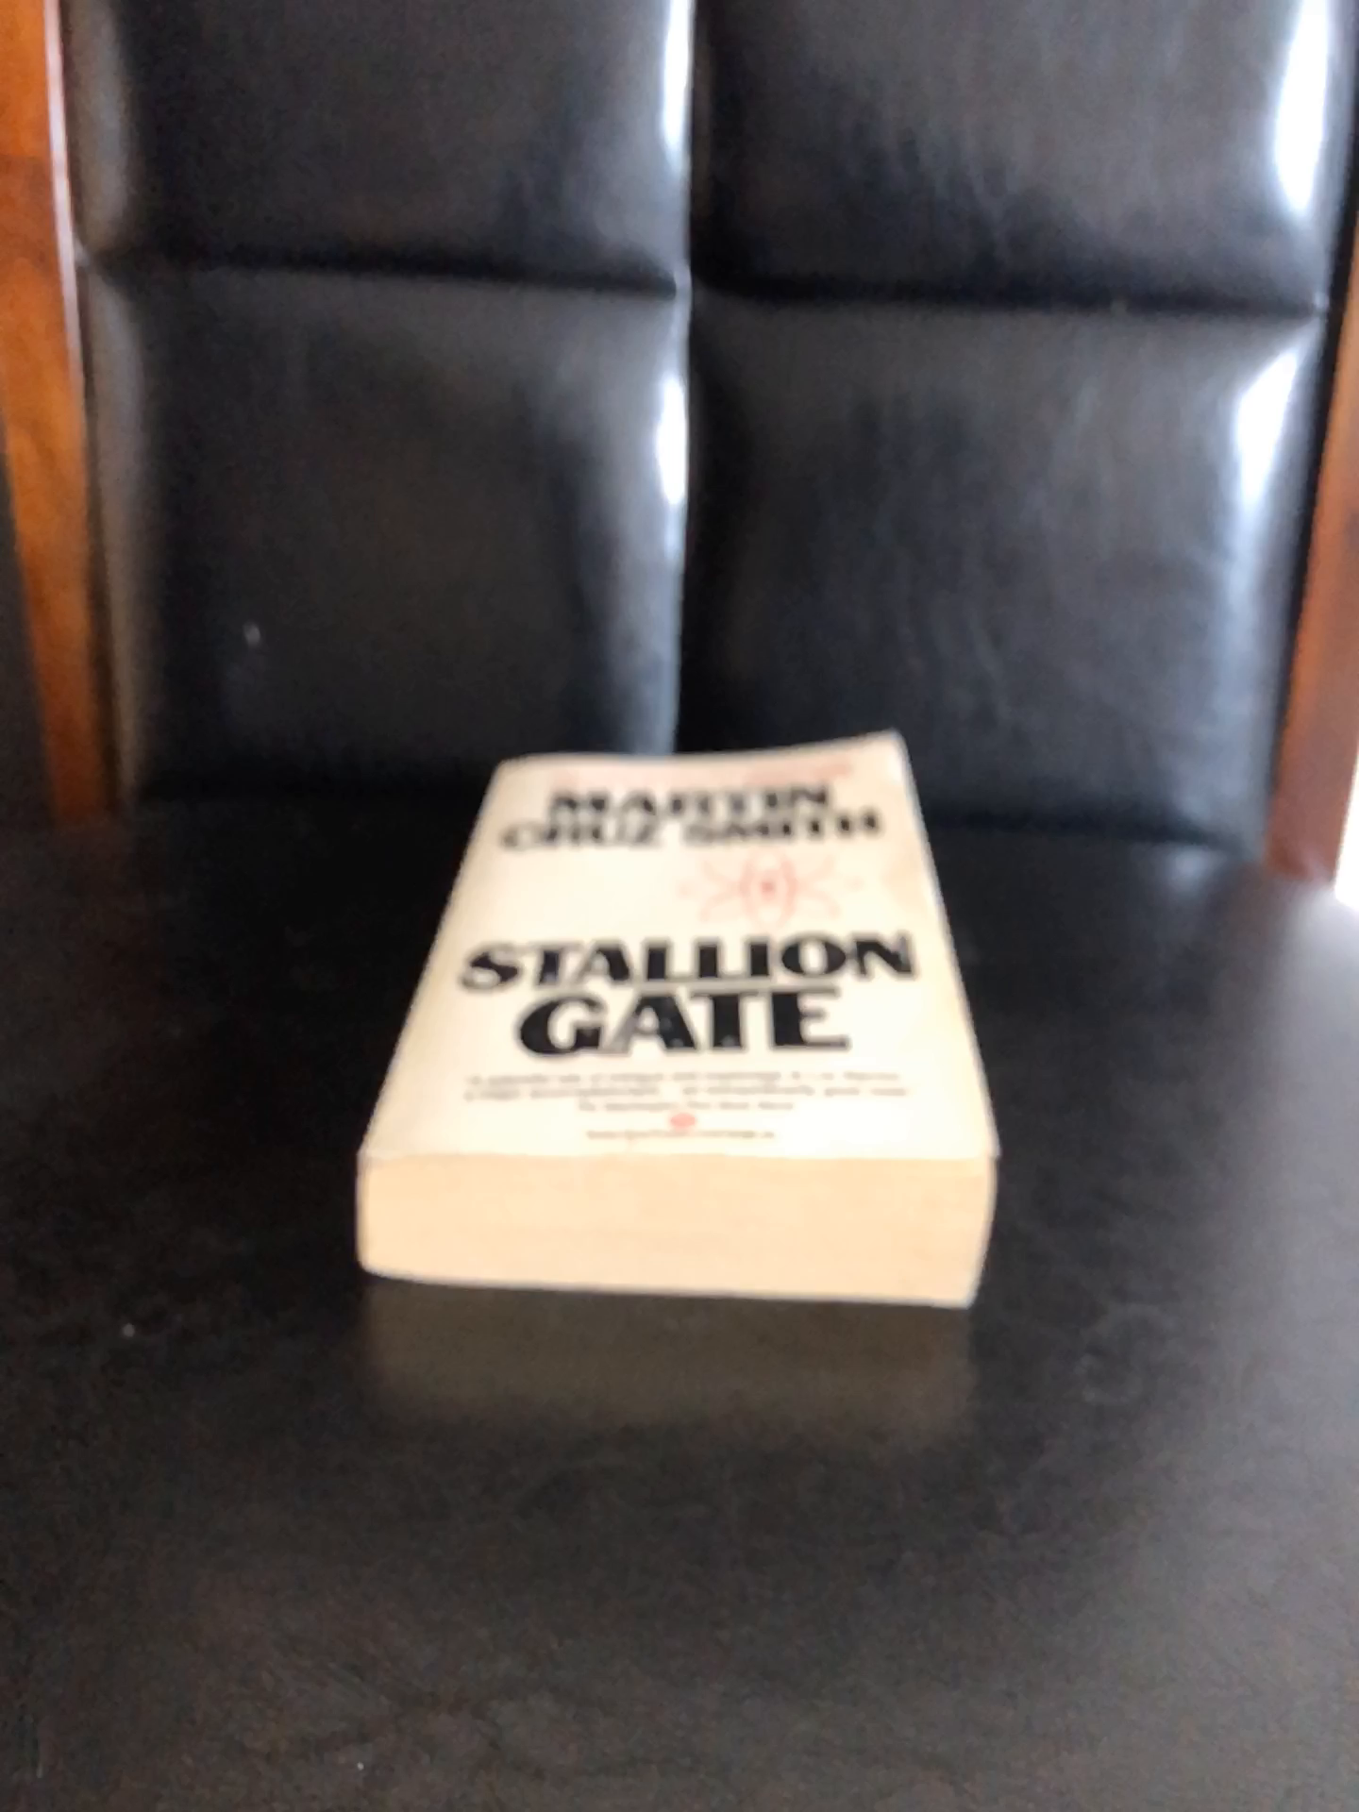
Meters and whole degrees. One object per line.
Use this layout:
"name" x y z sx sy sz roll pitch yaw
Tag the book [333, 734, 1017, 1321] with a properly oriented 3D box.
"book" 0.003 0.011 0.341 0.110 0.030 0.191 2 27 2
